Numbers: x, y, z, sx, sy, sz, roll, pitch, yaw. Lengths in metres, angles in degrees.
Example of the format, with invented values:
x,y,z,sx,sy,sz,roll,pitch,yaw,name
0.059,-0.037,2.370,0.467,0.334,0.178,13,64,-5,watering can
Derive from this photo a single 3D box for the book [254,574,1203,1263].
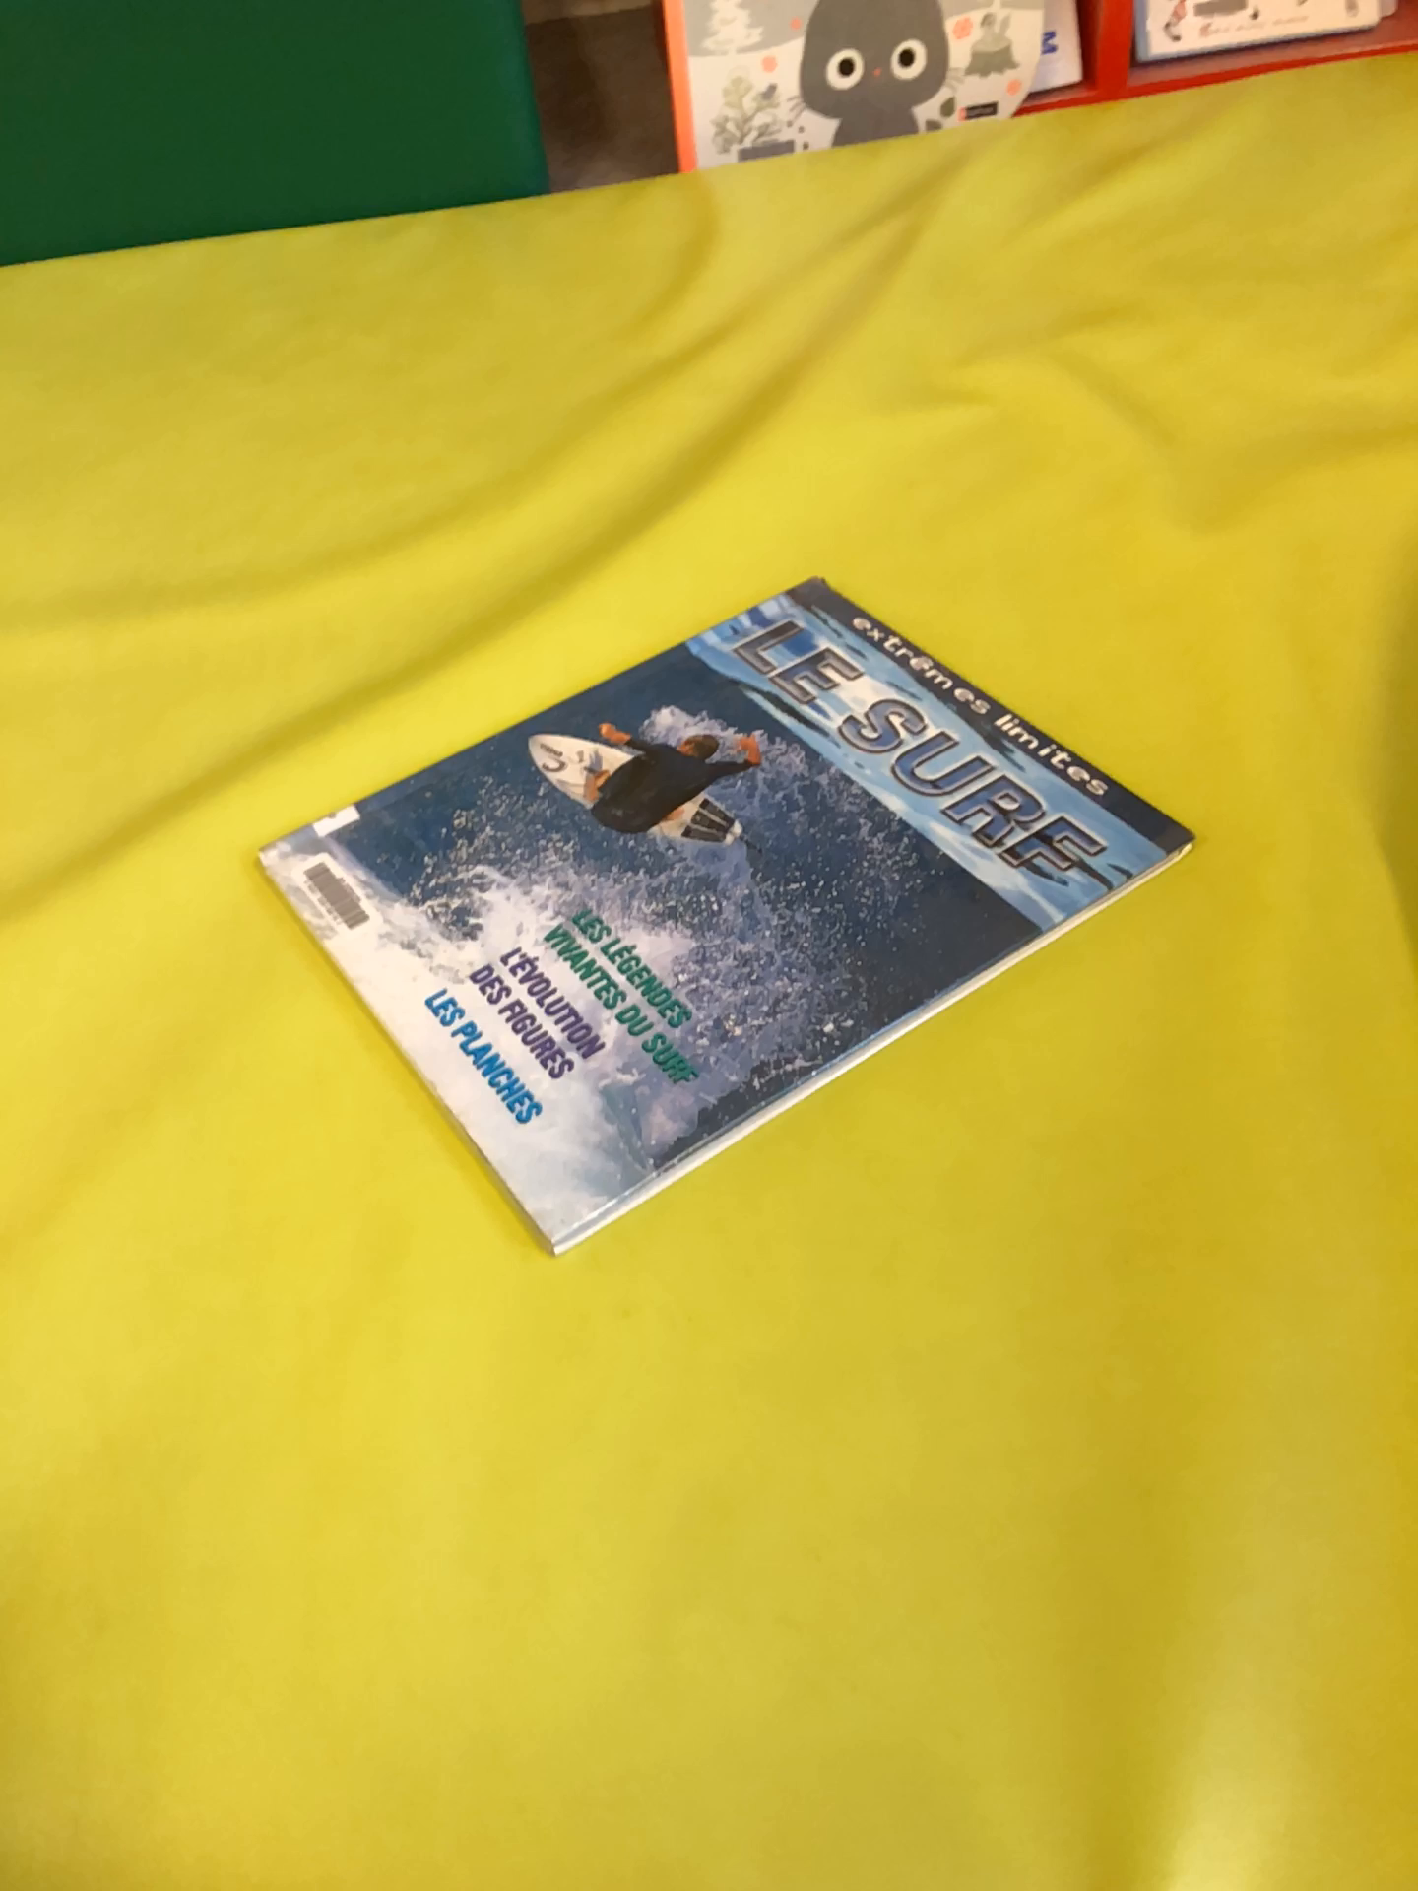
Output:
x,y,z,sx,sy,sz,roll,pitch,yaw,name
0.002,-0.035,0.583,0.273,0.016,0.226,-29,50,-21,book
